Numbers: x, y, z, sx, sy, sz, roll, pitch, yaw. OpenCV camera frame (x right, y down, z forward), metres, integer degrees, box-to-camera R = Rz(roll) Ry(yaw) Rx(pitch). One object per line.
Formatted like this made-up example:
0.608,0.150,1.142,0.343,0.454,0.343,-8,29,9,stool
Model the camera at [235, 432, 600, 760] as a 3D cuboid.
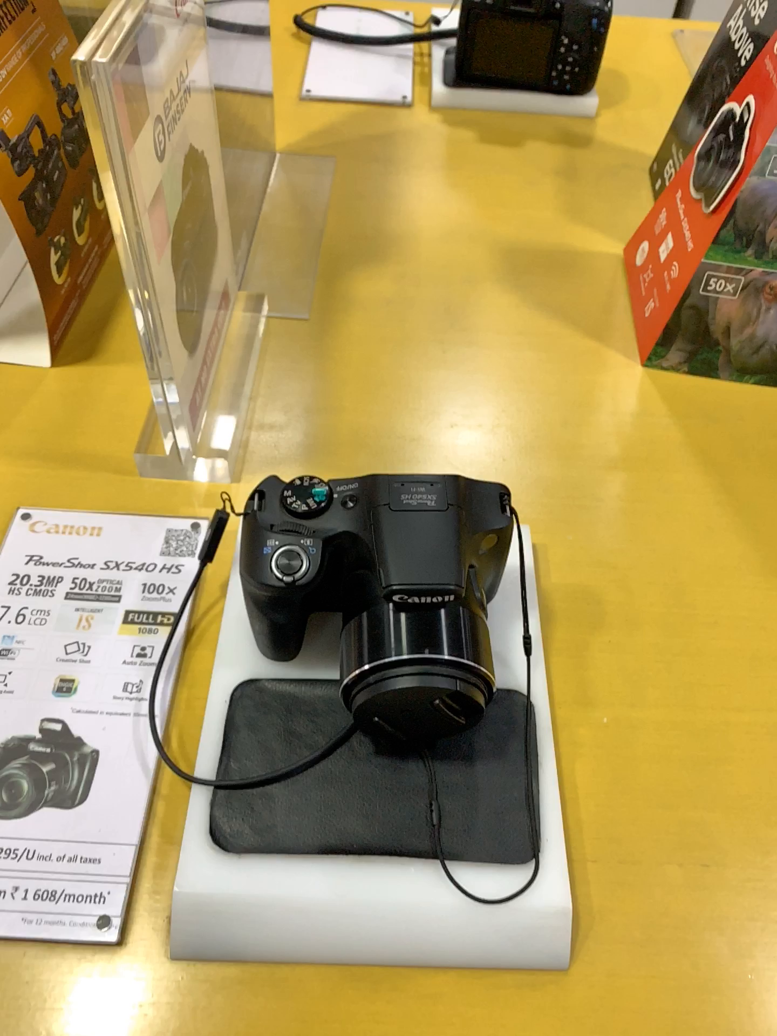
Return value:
0.008,0.031,0.323,0.120,0.070,0.110,1,51,-2,camera
